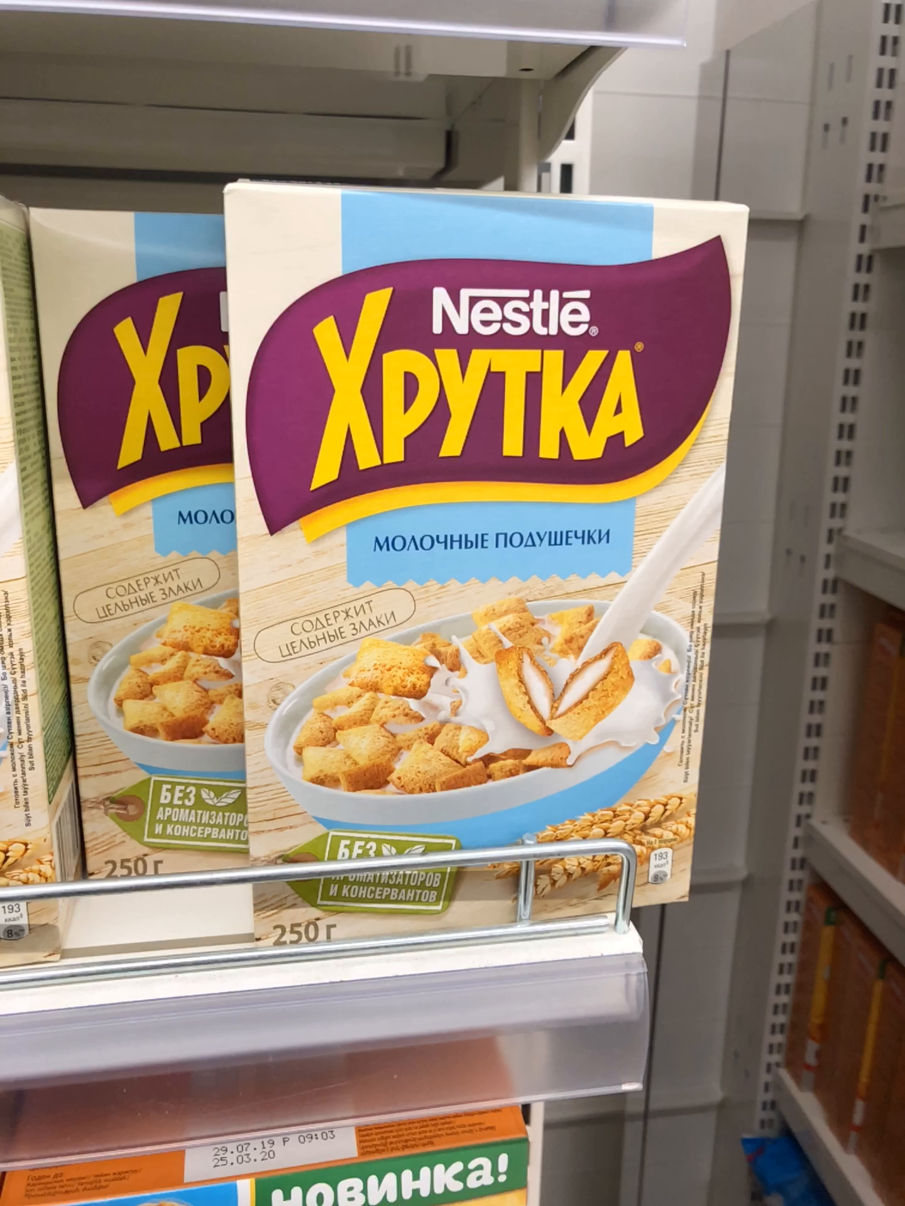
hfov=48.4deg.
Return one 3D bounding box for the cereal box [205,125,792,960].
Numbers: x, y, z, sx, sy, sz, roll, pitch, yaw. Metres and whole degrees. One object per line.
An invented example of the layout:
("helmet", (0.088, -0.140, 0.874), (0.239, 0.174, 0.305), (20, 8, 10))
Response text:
("cereal box", (0.009, -0.014, 0.300), (0.150, 0.219, 0.050), (-3, 16, -13))
